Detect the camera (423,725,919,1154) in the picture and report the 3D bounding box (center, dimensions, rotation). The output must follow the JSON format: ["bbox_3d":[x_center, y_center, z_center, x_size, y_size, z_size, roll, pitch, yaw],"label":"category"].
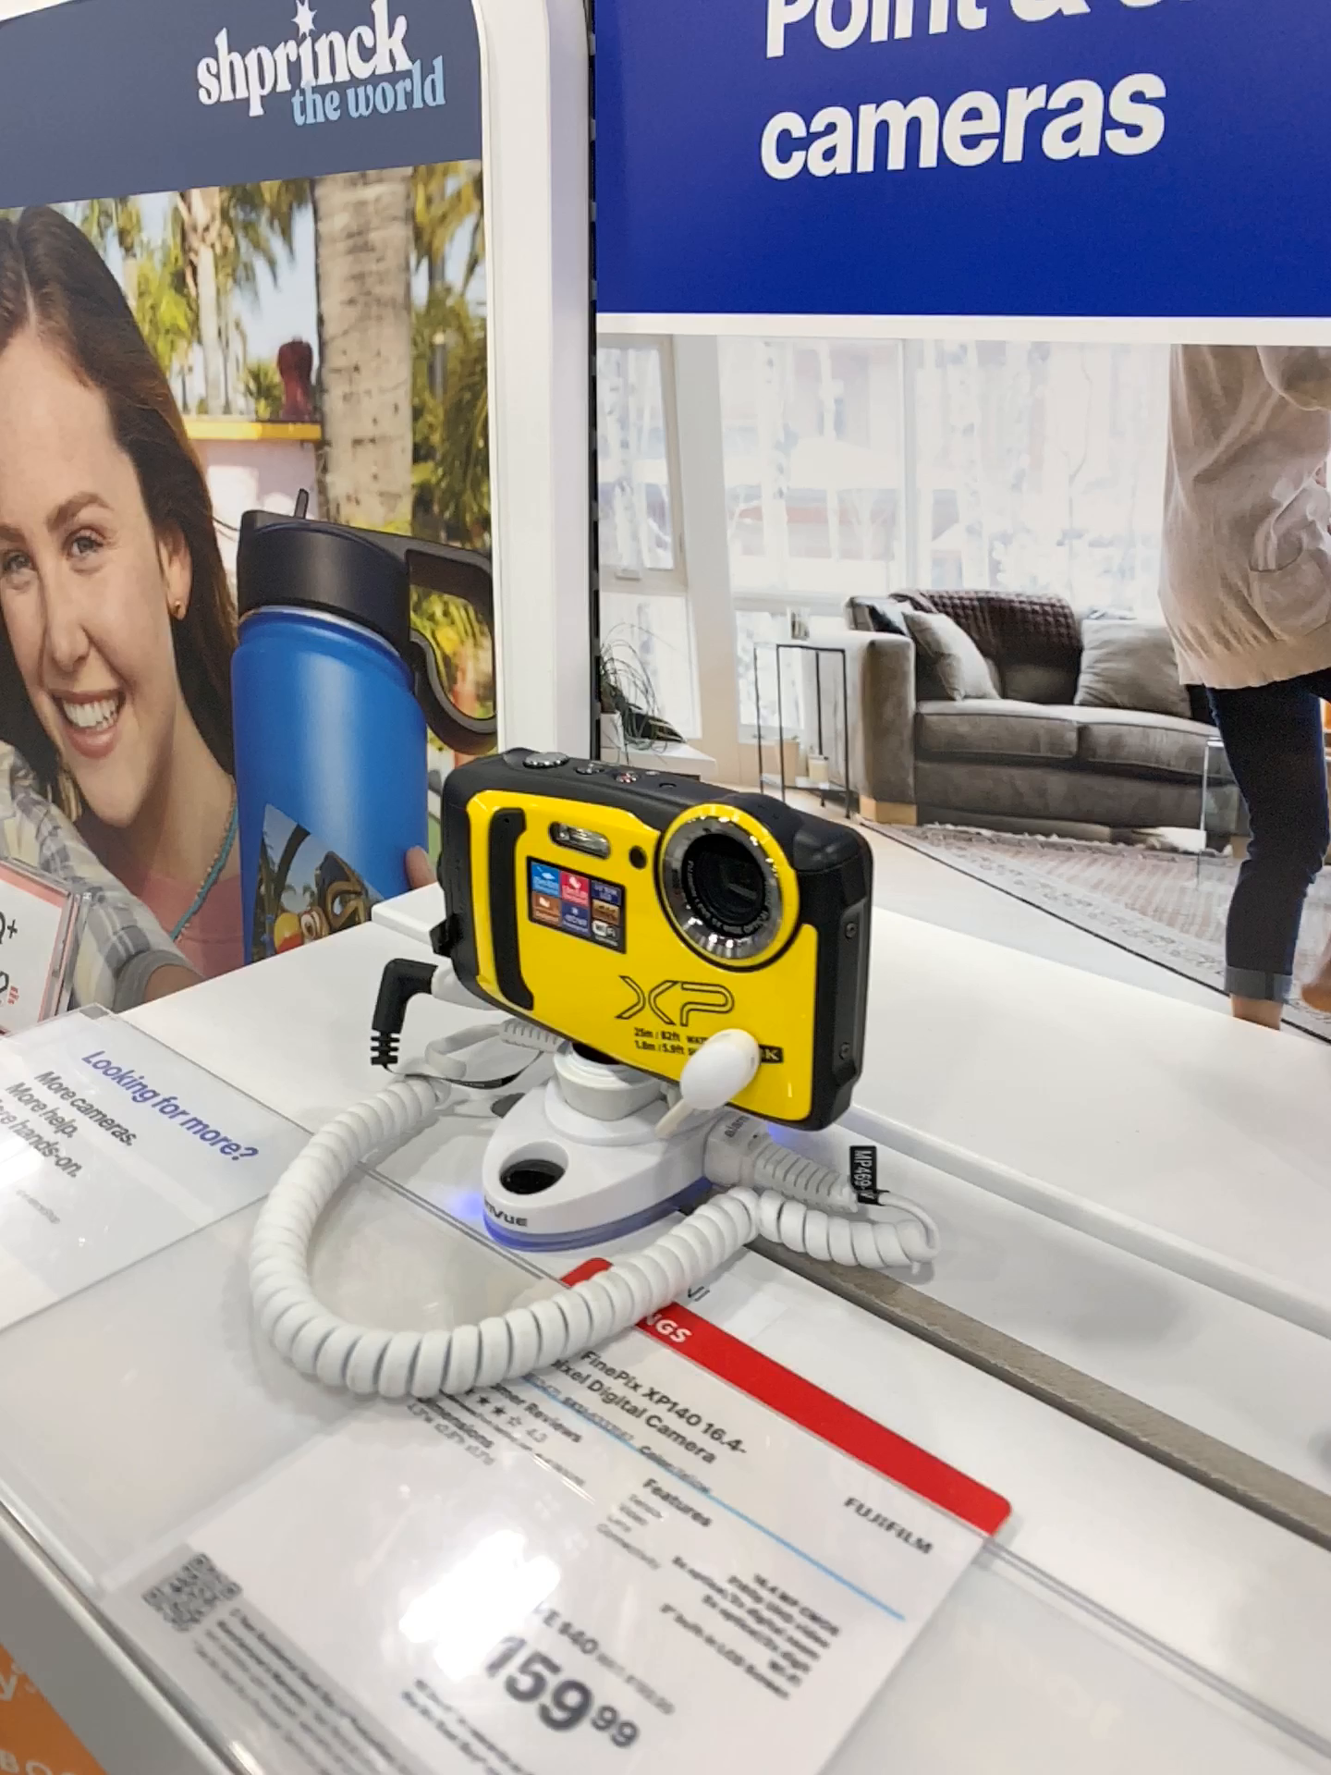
[{"bbox_3d":[-0.003,0.006,0.299,0.110,0.060,0.030,17,27,36],"label":"camera"}]
